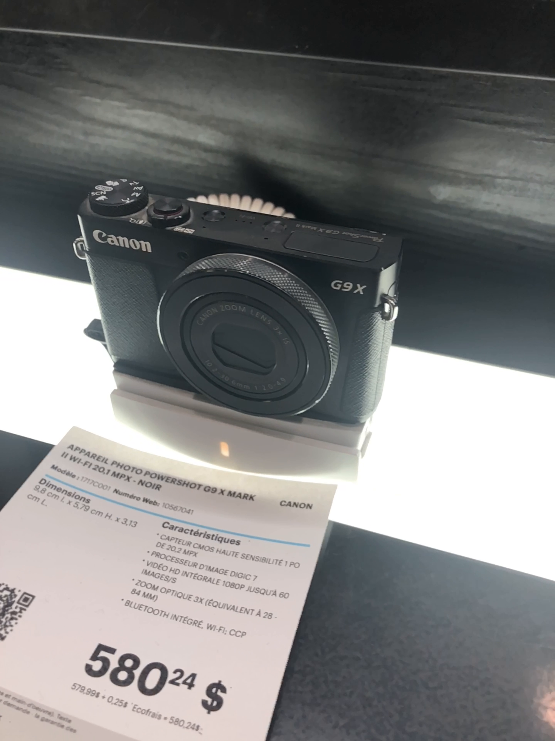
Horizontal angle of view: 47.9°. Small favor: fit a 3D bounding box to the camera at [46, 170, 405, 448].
[{"bbox_3d":[-0.015,-0.019,0.183,0.092,0.060,0.026,13,41,15],"label":"camera"}]
